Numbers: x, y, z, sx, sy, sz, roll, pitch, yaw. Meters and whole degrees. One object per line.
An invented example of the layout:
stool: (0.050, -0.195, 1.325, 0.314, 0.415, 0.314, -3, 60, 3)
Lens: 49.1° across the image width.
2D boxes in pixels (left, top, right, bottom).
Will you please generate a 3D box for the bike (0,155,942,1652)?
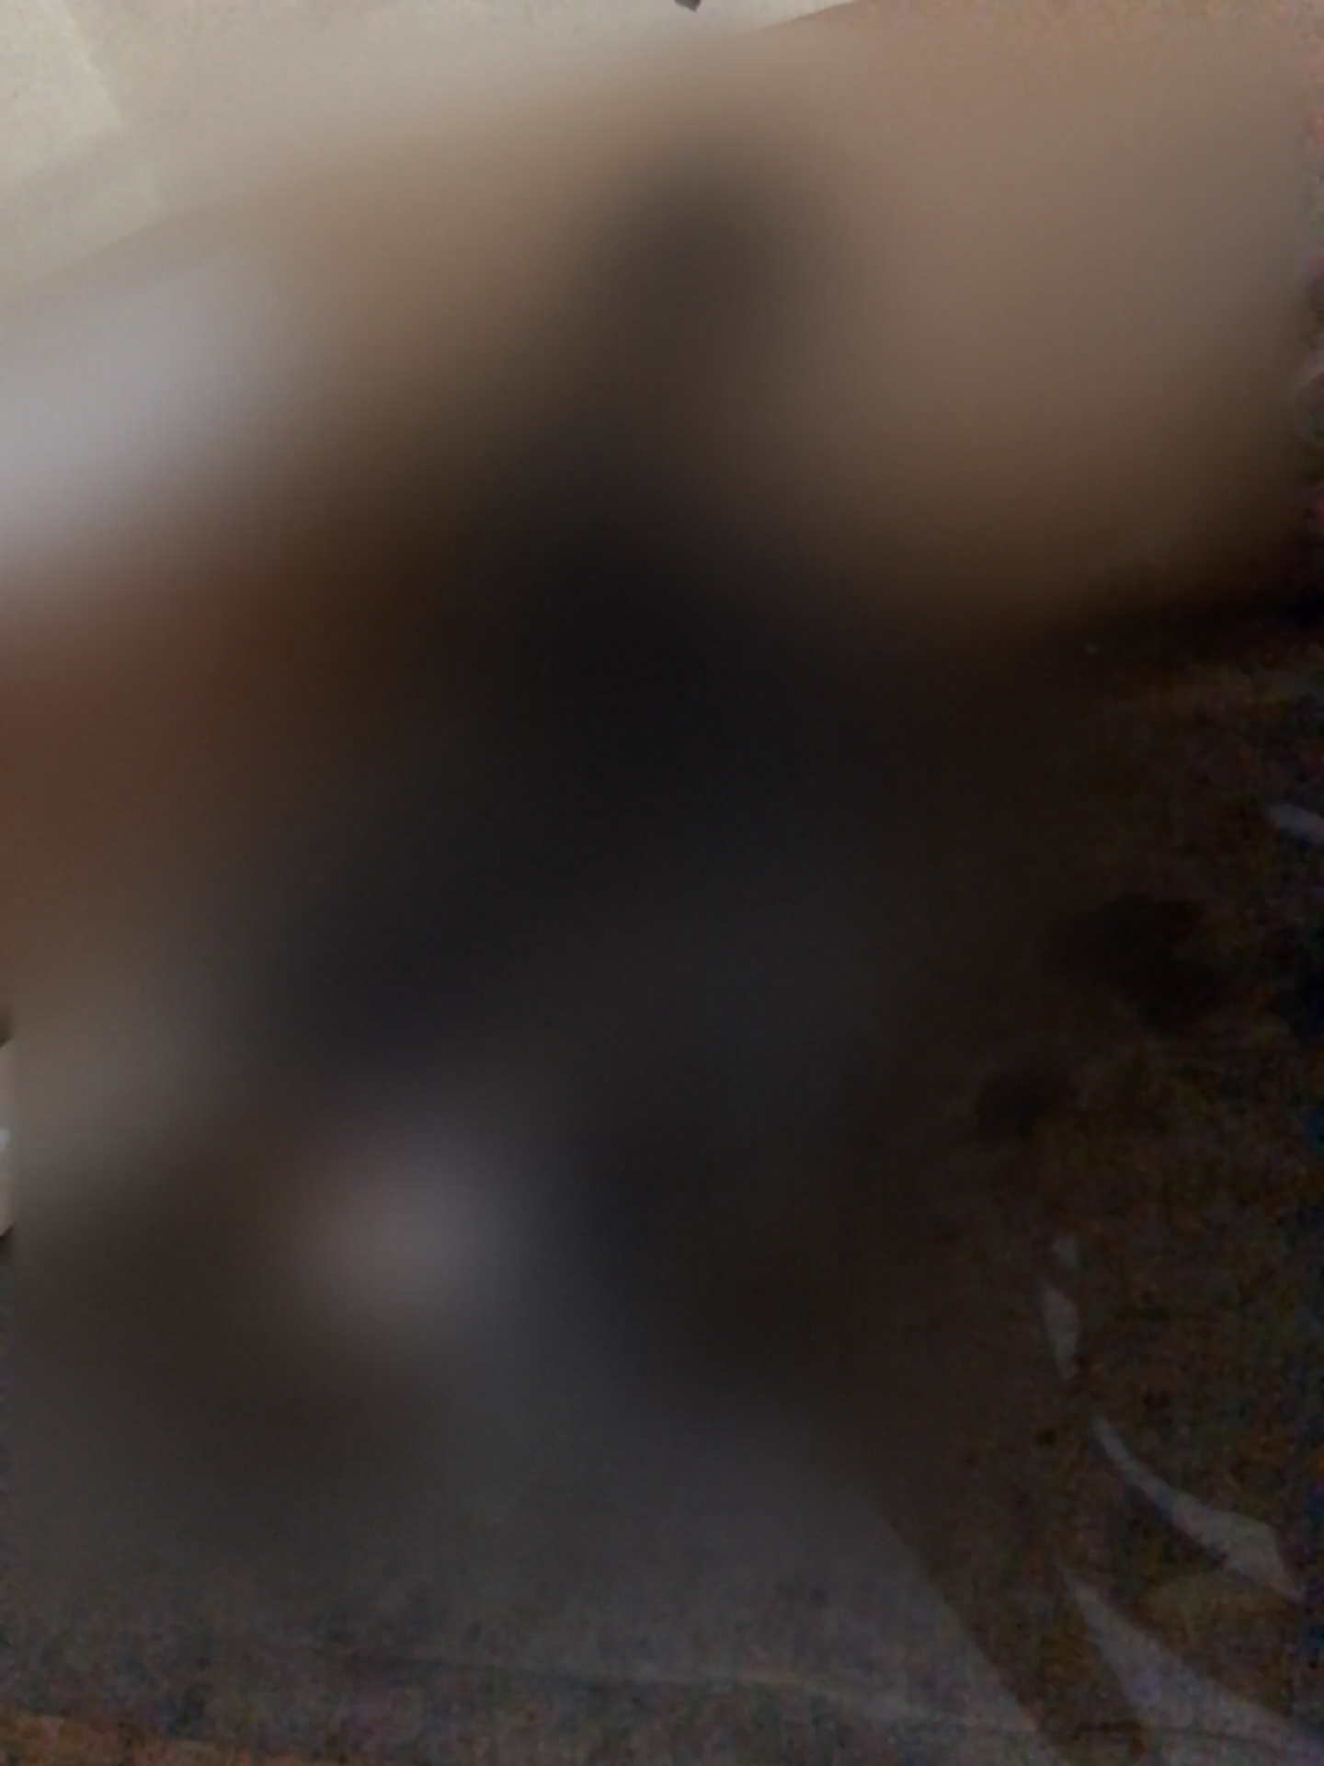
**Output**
bike: (-0.129, -0.114, 1.988, 0.718, 1.179, 1.710, -8, 34, 20)
